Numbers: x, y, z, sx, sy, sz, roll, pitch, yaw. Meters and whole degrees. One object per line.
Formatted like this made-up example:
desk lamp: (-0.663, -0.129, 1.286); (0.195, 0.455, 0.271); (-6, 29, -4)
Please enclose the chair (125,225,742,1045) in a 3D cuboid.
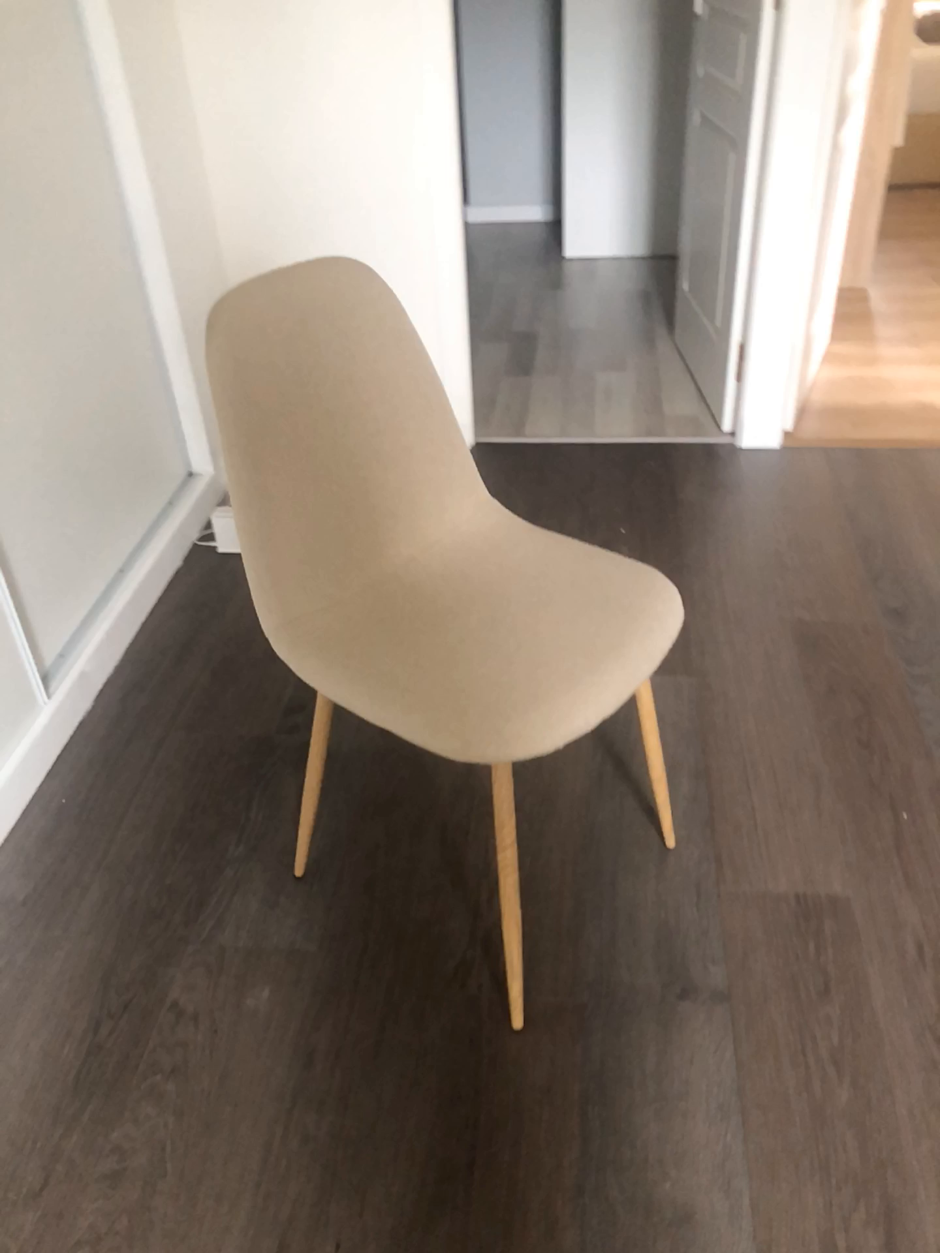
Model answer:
chair: (-0.019, -0.002, 1.333); (0.500, 0.845, 0.433); (24, 43, 34)
